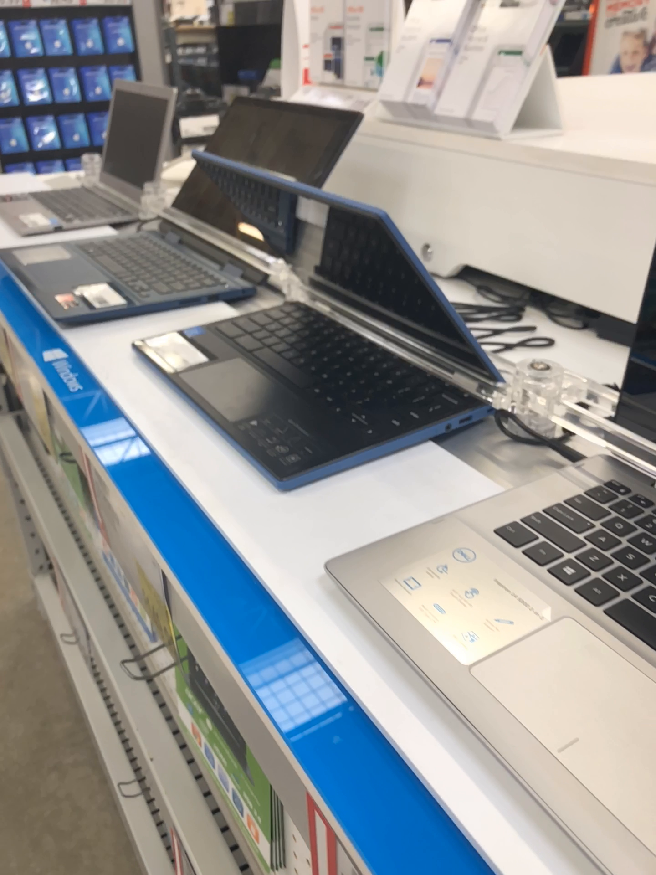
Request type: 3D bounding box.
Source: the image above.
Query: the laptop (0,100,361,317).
[{"bbox_3d":[-0.199,-0.305,0.892,0.367,0.169,0.306,-17,33,-27],"label":"laptop"}]

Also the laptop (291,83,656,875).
[{"bbox_3d":[0.191,0.009,0.258,0.255,0.218,0.342,-18,31,-24],"label":"laptop"}]

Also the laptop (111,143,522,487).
[{"bbox_3d":[-0.026,-0.127,0.586,0.194,0.159,0.295,-17,33,-26],"label":"laptop"}]
